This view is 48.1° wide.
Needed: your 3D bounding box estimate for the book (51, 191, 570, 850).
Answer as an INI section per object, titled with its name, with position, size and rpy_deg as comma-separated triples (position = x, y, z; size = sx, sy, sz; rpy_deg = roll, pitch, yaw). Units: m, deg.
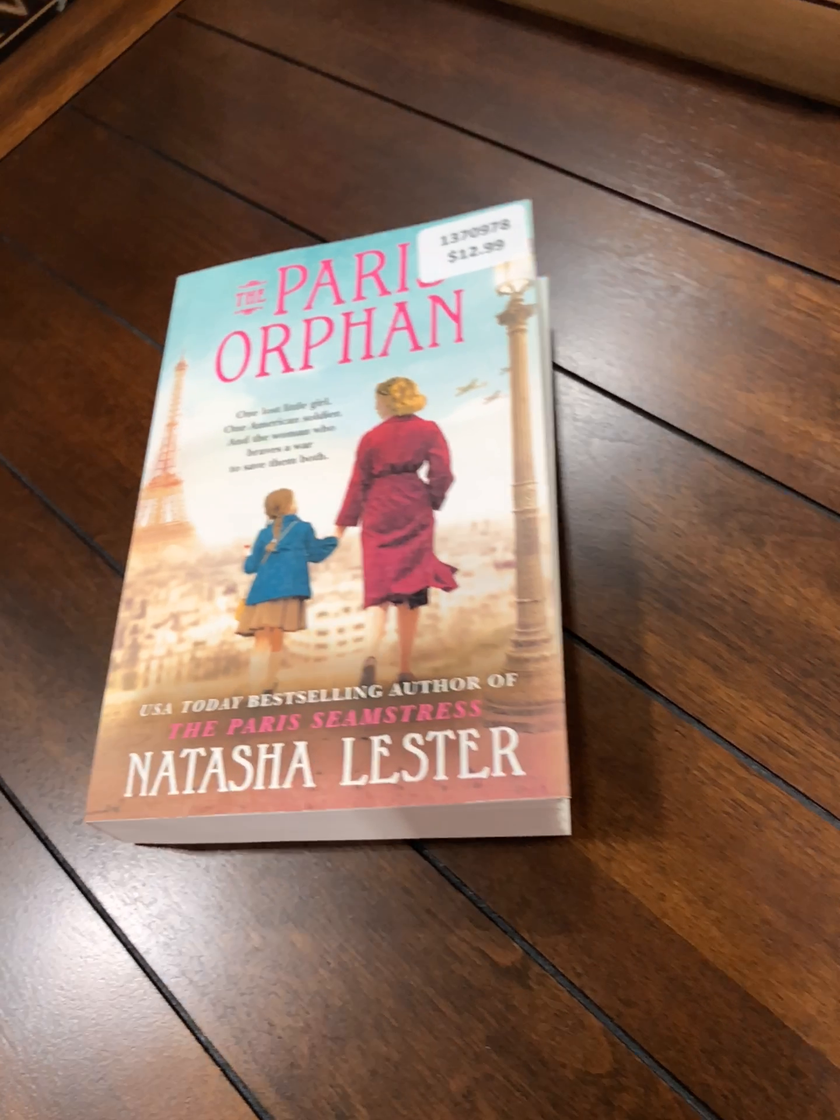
[book]
position = -0.027, -0.016, 0.294
size = 0.134, 0.035, 0.199
rpy_deg = -6, 63, 15
